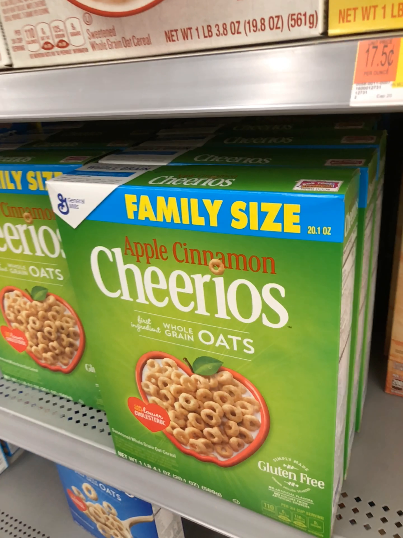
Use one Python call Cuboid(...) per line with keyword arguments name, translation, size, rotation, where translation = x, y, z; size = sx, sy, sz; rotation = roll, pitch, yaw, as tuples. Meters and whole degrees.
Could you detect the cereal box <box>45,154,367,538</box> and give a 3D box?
Cuboid(name="cereal box", translation=(0.006, 0.065, 0.386), size=(0.230, 0.309, 0.060), rotation=(8, 28, 27))
